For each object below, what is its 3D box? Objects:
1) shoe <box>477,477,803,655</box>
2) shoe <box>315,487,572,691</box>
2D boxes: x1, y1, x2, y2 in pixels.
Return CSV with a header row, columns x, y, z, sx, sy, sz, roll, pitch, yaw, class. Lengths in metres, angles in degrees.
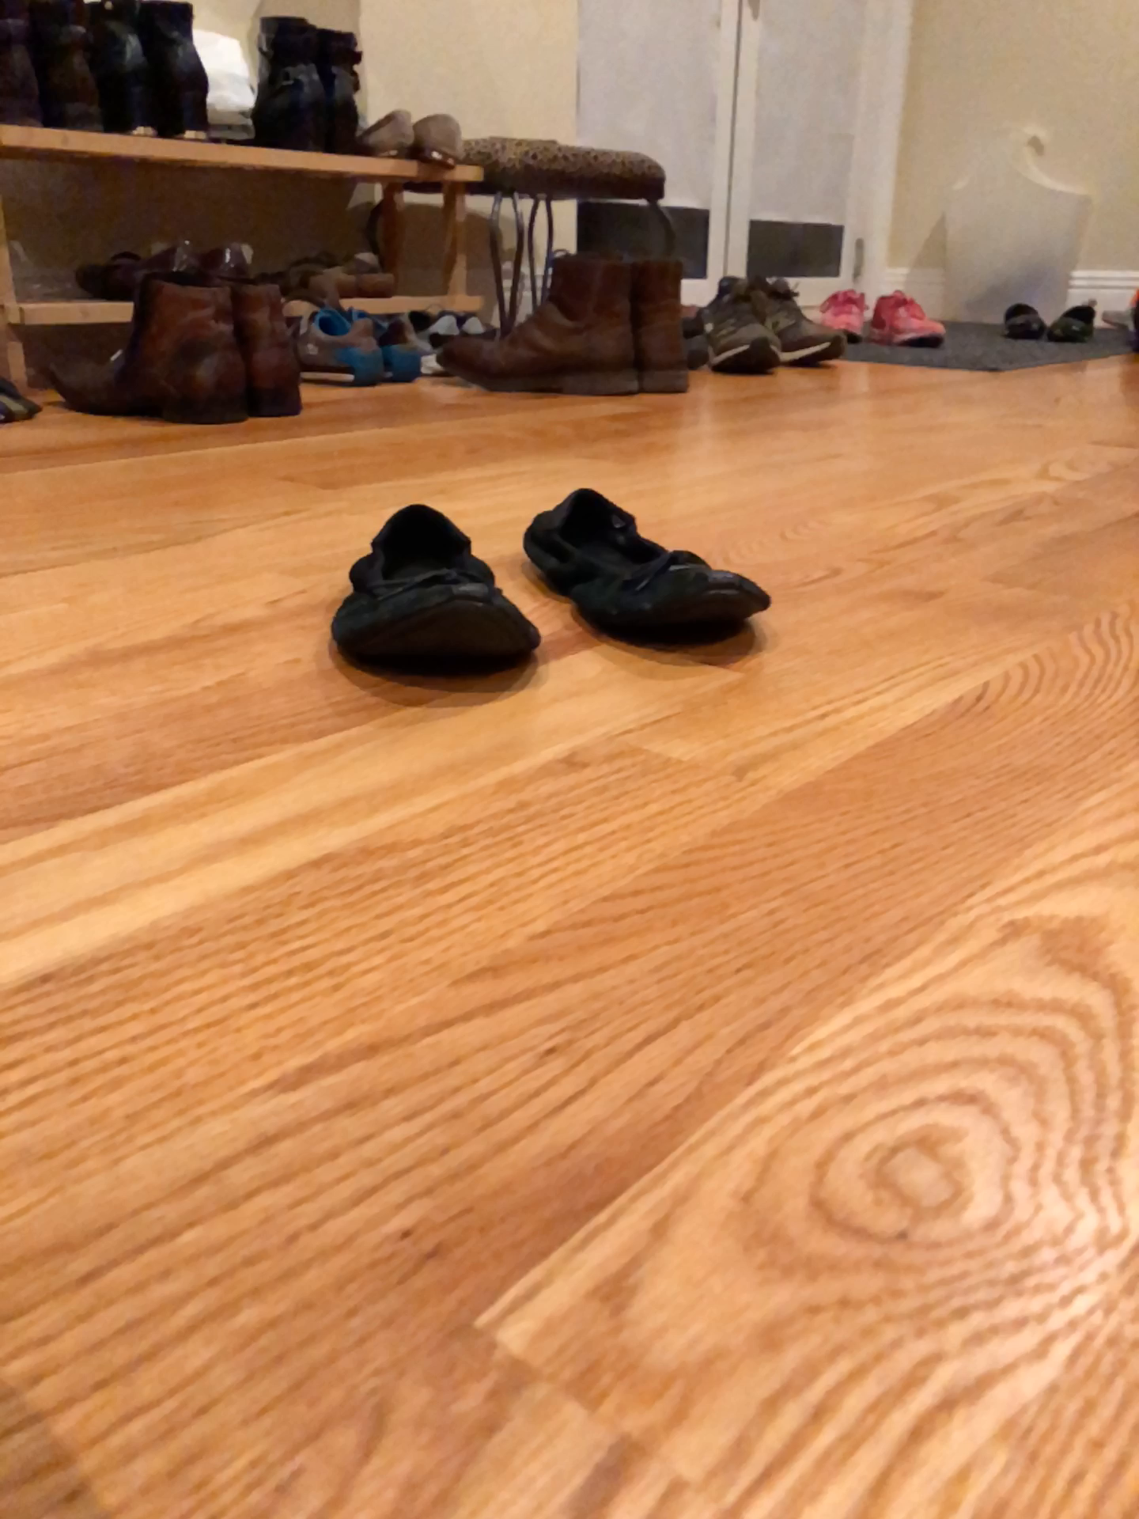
x,y,z,sx,sy,sz,roll,pitch,yaw,class
0.028,-0.115,0.696,0.093,0.046,0.221,-8,23,-21,shoe
-0.074,-0.096,0.646,0.100,0.050,0.221,-4,22,-13,shoe
